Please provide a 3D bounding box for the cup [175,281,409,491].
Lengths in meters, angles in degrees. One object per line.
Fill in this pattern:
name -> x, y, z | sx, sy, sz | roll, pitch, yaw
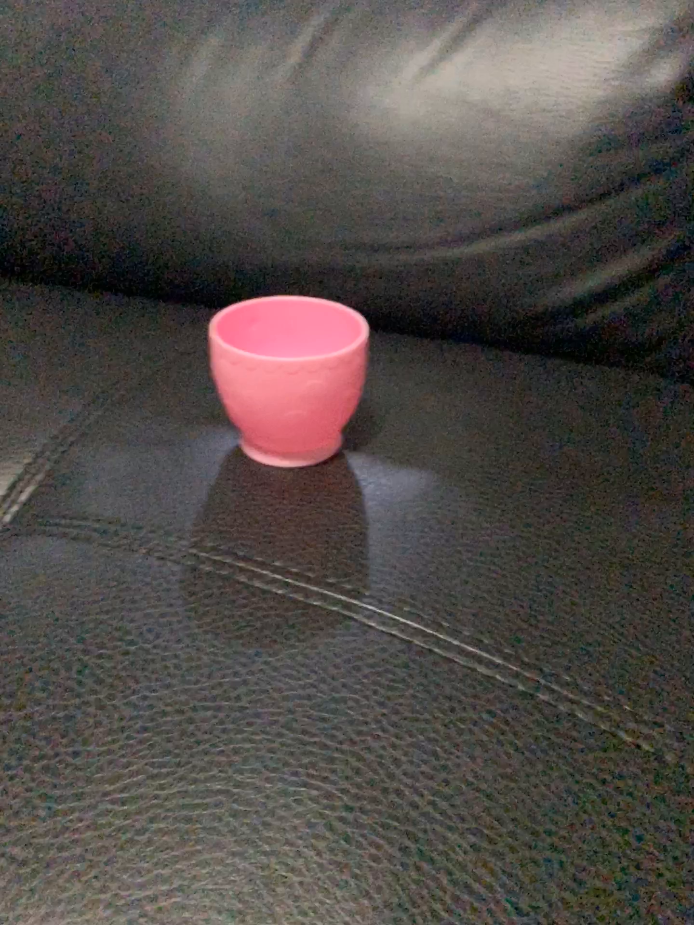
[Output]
cup -> -0.023, -0.035, 0.288 | 0.061, 0.045, 0.078 | -17, 35, -25
